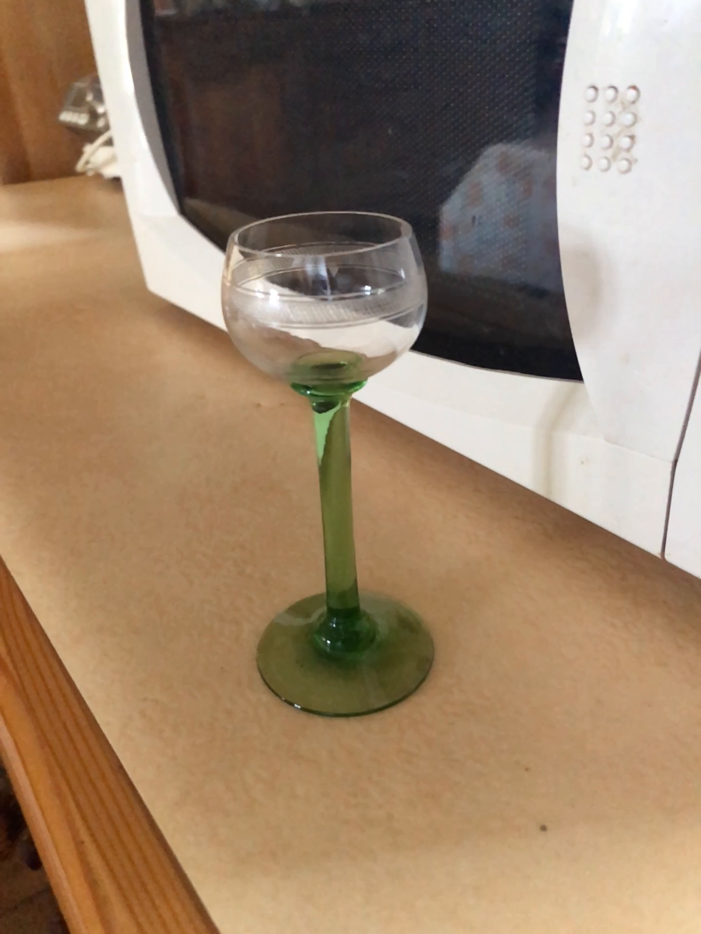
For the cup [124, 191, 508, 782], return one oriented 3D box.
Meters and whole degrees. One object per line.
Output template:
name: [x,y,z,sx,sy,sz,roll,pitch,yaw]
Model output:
cup: [-0.004,0.003,0.204,0.060,0.129,0.060,-3,30,1]
